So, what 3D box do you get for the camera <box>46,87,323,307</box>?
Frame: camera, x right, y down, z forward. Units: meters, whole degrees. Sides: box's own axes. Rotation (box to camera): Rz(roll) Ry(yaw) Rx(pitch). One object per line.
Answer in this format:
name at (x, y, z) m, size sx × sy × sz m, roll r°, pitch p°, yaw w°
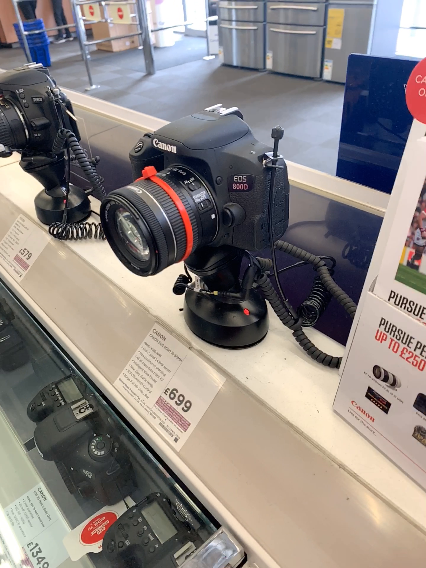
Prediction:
camera at (-0.017, -0.081, 0.338) m, size 0.141 × 0.089 × 0.141 m, roll 26°, pitch 47°, yaw 35°
